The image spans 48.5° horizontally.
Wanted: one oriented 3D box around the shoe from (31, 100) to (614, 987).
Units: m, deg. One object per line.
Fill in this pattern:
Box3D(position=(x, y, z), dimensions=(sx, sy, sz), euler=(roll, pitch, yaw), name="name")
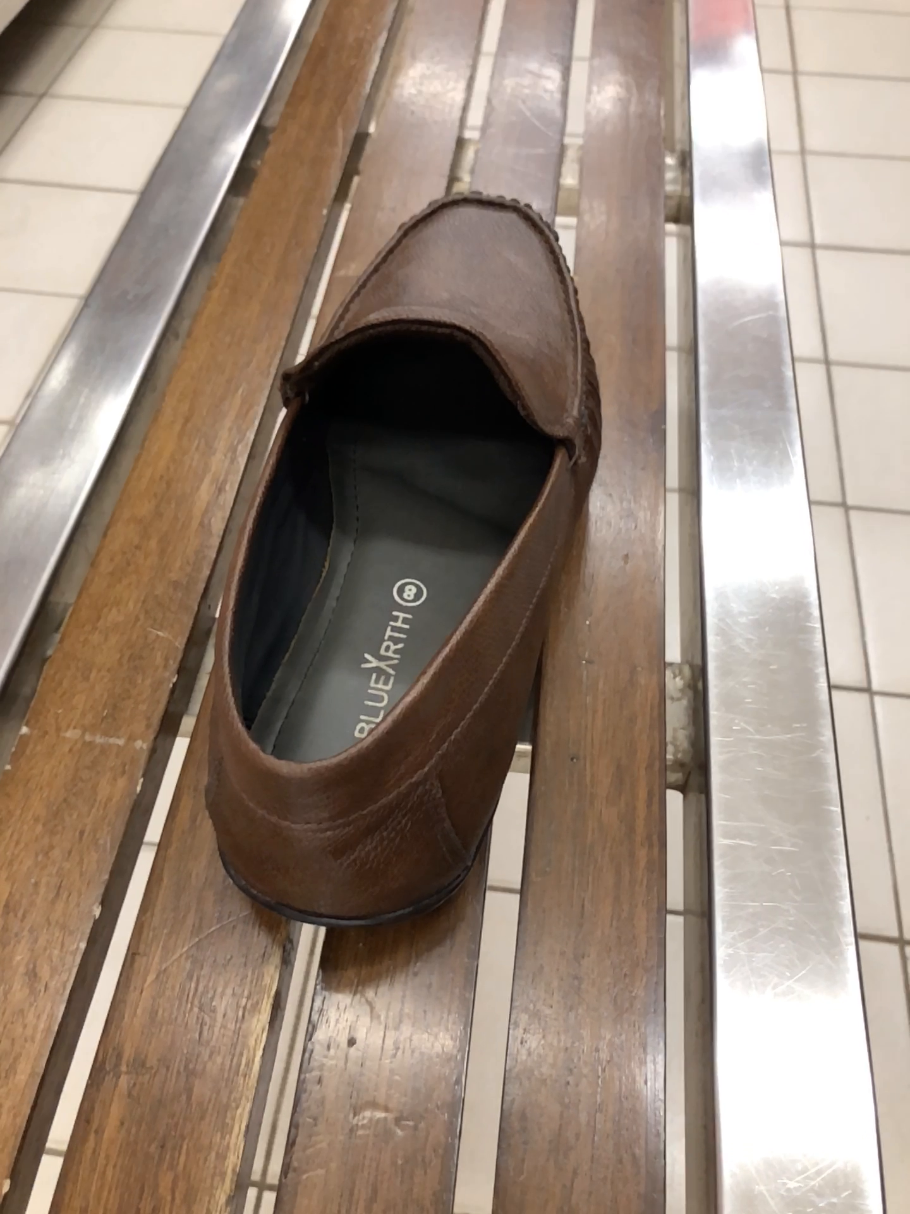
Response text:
Box3D(position=(-0.016, -0.042, 0.324), dimensions=(0.090, 0.090, 0.282), euler=(9, 55, 7), name="shoe")
